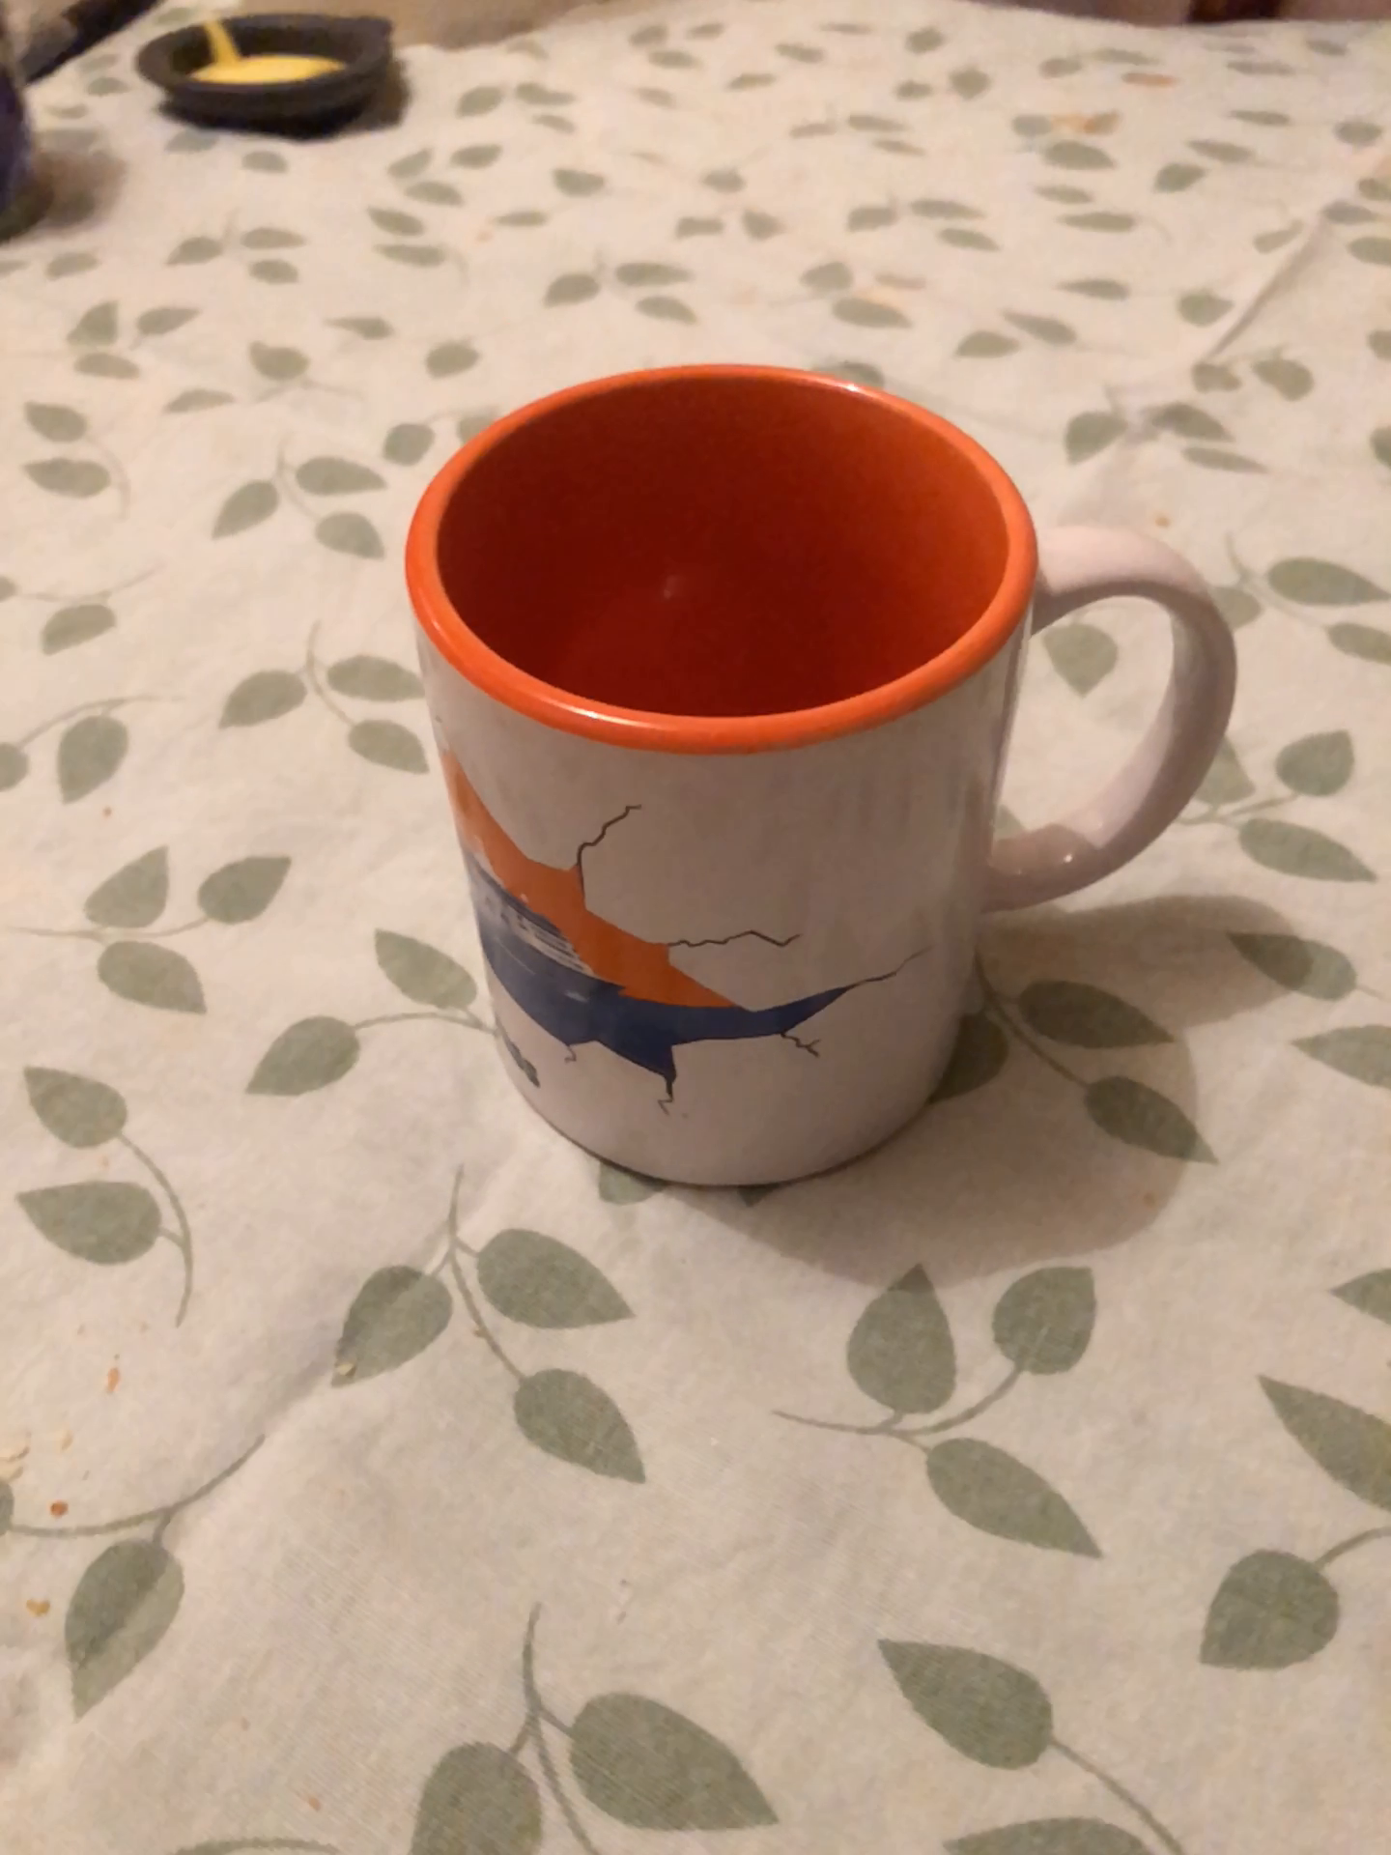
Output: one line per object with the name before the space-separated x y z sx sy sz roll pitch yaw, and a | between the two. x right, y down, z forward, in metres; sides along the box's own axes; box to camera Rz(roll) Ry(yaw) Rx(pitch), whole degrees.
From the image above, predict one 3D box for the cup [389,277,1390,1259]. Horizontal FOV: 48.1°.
cup | 0.026 -0.023 0.228 0.120 0.099 0.081 -9 48 -7
